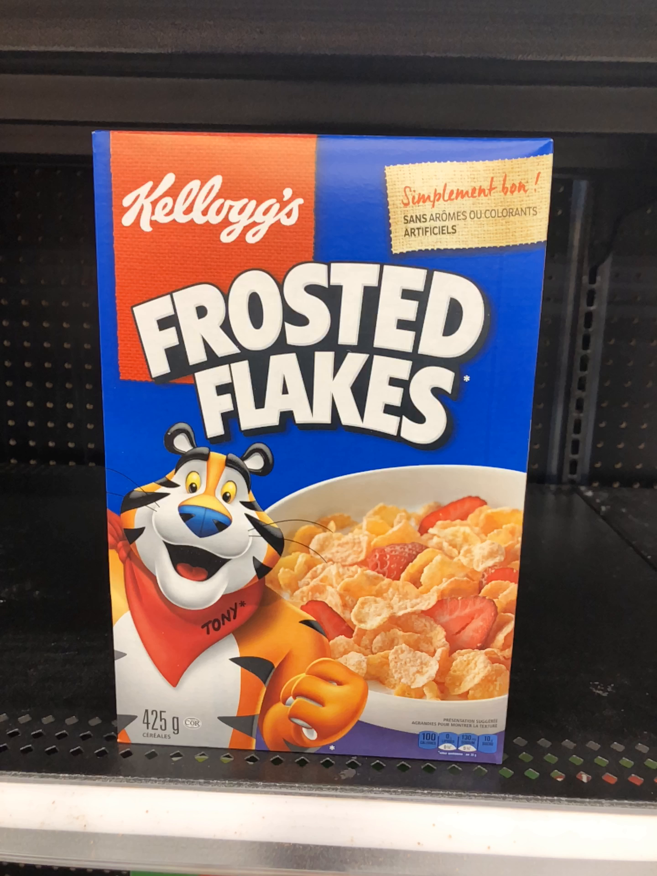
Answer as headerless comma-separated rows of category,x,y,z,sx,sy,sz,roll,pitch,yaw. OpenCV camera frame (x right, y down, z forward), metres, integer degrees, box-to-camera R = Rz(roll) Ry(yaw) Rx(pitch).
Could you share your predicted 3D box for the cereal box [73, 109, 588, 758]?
cereal box,-0.003,0.002,0.355,0.210,0.289,0.060,2,12,3
